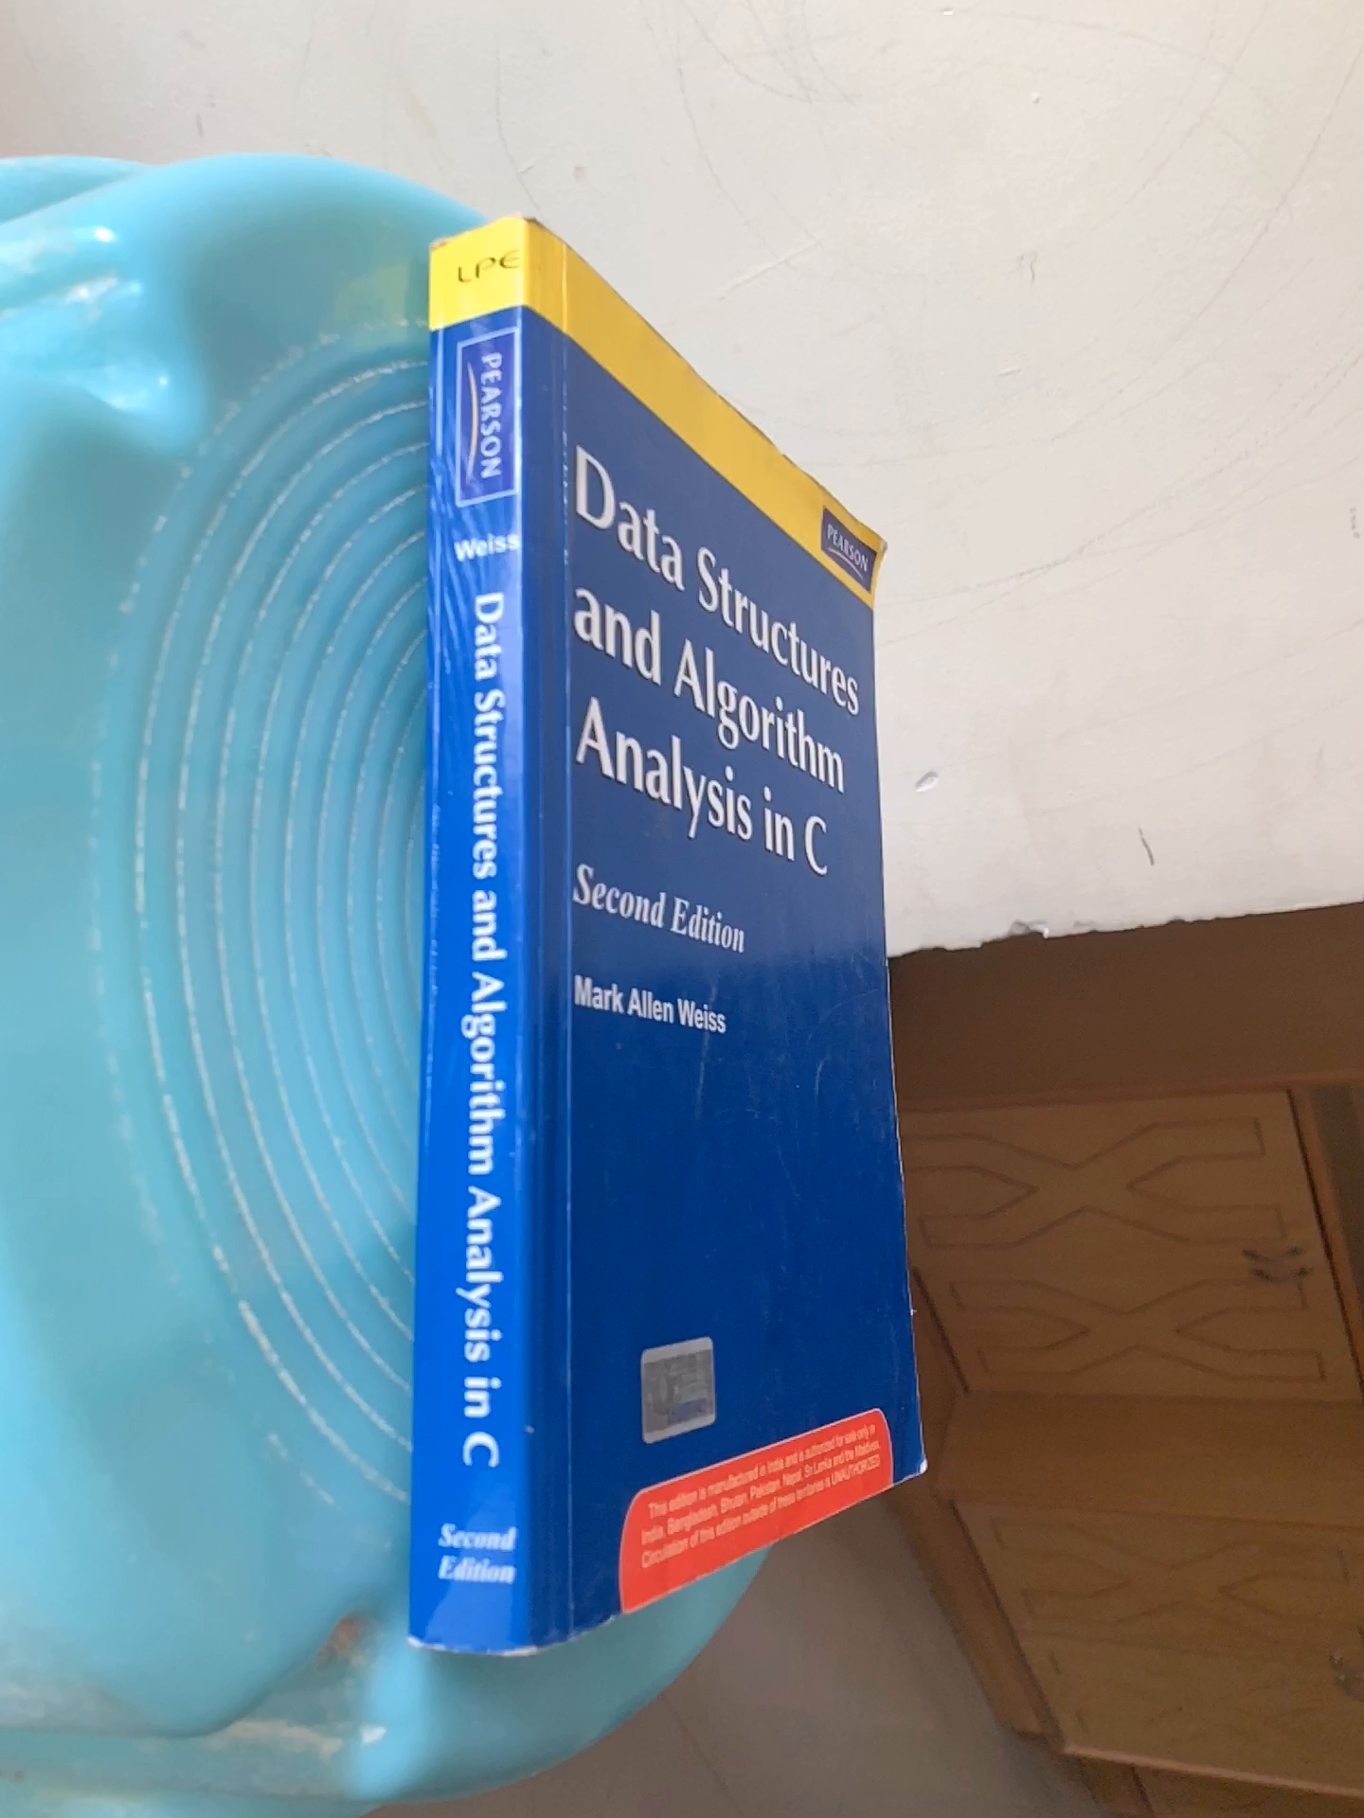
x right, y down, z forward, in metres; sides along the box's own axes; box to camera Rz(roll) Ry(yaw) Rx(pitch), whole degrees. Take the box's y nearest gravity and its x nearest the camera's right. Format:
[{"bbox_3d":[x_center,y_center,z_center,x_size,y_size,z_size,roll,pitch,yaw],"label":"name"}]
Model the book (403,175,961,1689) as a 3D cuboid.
[{"bbox_3d":[0.010,0.005,0.295,0.161,0.030,0.240,17,69,-58],"label":"book"}]
